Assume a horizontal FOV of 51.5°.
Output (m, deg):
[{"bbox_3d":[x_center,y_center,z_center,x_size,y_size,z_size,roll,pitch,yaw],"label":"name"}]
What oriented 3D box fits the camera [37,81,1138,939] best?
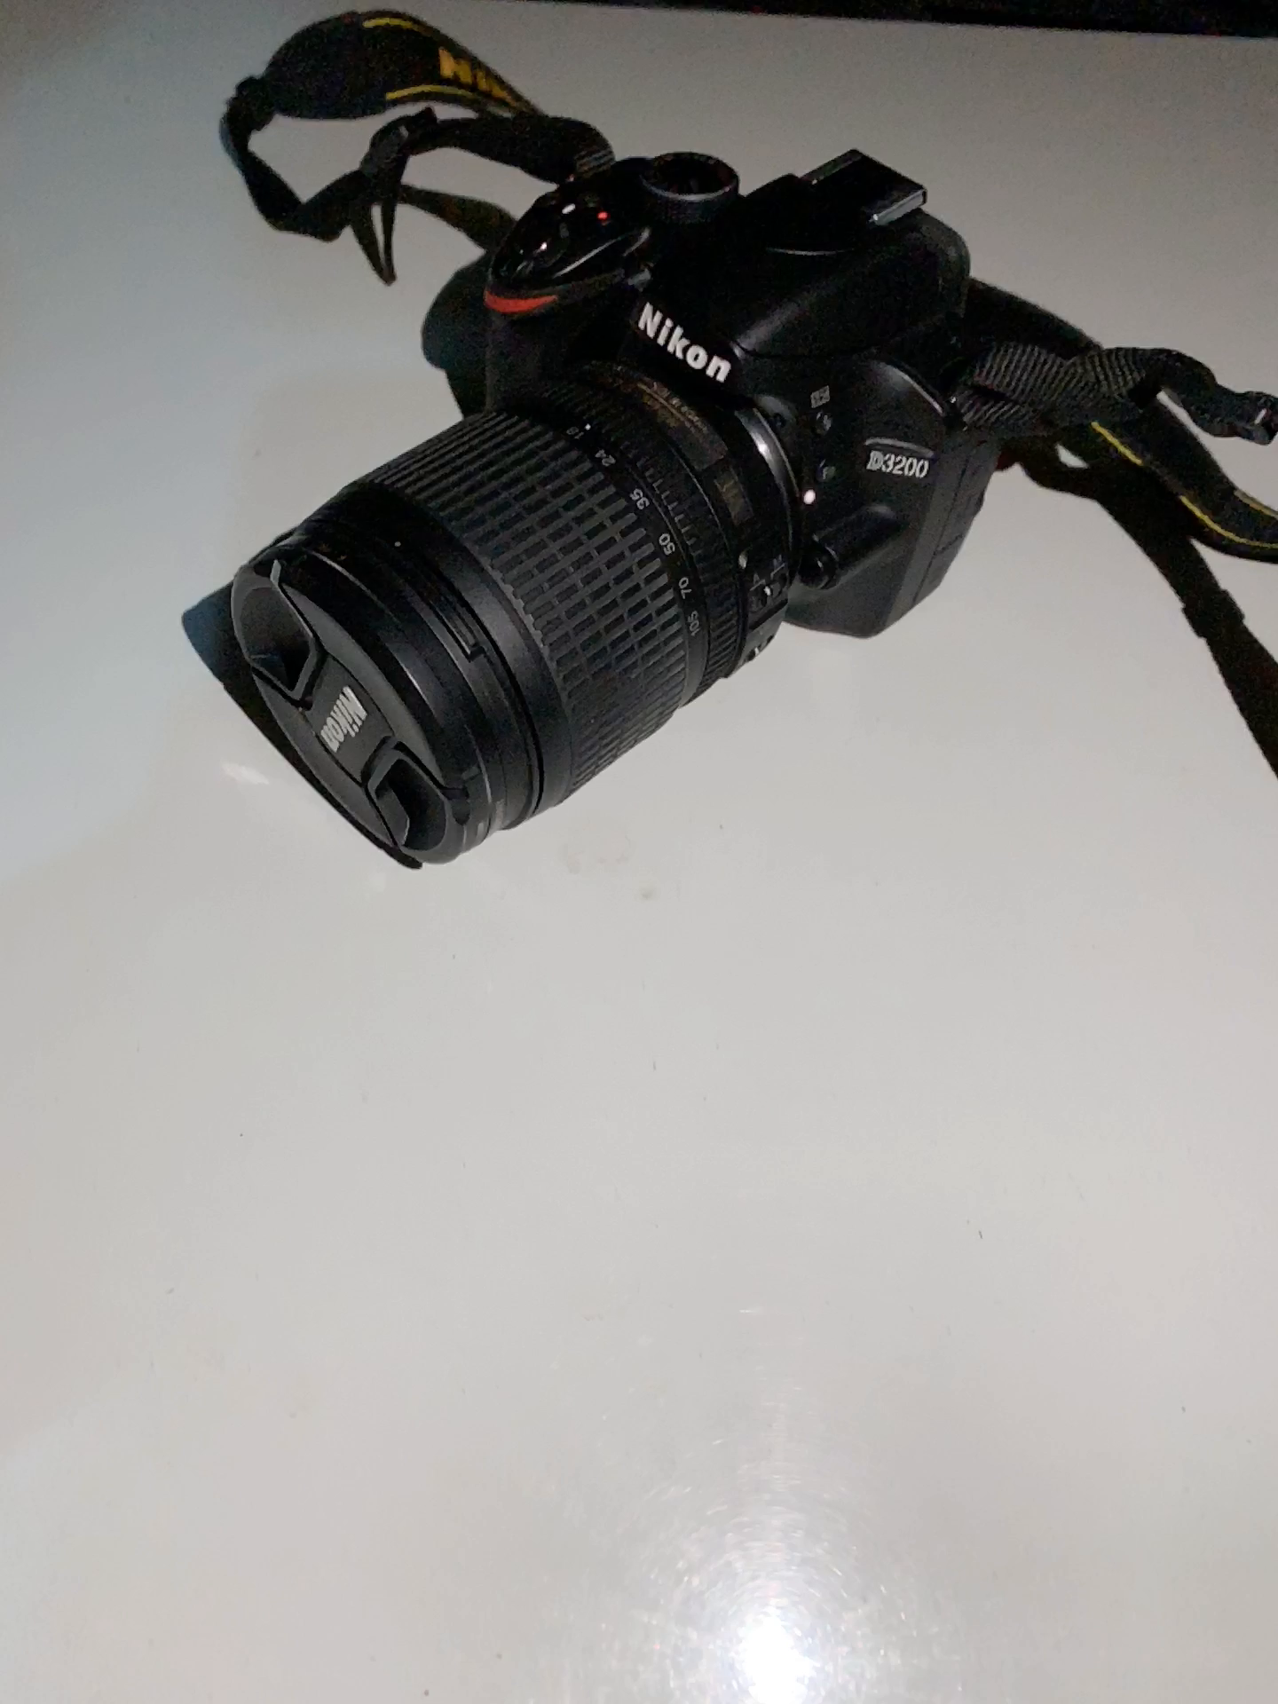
[{"bbox_3d":[-0.005,-0.097,0.315,0.201,0.099,0.126,-32,55,-31],"label":"camera"}]
